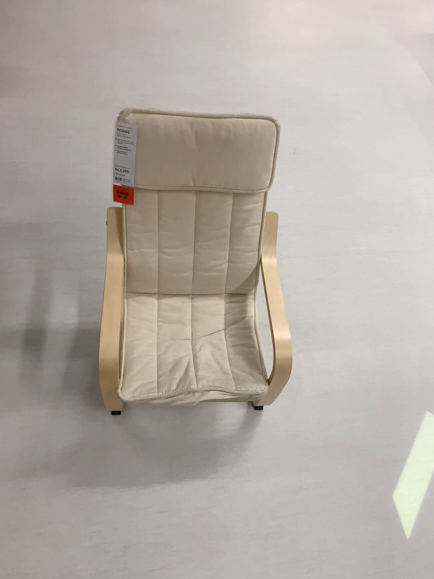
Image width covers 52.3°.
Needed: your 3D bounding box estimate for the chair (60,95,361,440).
[{"bbox_3d":[-0.071,0.017,1.192,0.490,0.798,0.541,0,58,-9],"label":"chair"}]
